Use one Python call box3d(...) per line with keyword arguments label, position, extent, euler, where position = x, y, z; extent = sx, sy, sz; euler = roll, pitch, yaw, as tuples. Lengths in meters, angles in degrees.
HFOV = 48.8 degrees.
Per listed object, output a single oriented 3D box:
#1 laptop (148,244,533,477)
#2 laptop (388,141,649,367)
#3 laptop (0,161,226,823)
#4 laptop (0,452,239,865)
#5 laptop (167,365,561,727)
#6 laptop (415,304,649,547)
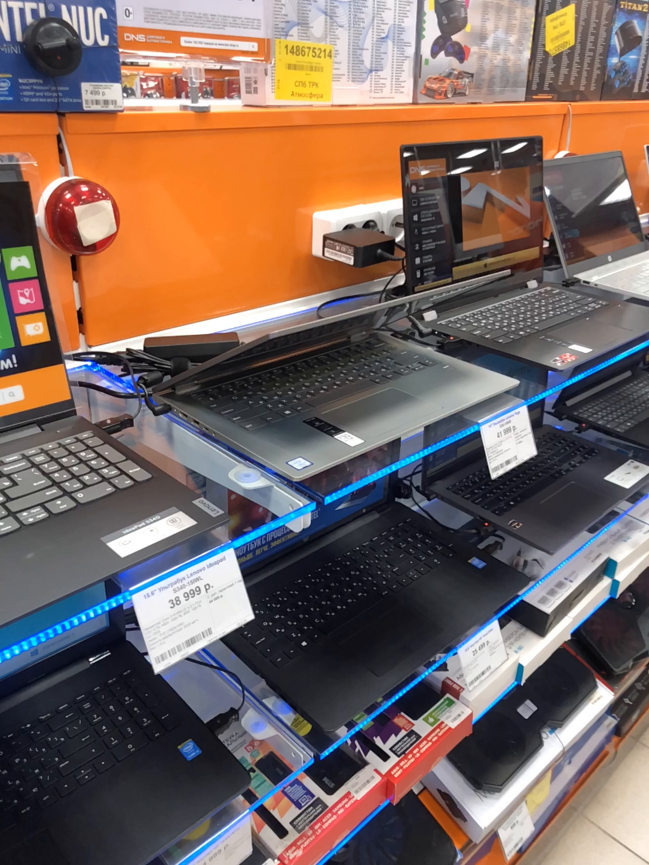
box3d(label="laptop", position=(0.022, -0.095, 0.714), extent=(0.314, 0.110, 0.210), euler=(-21, 35, -39))
box3d(label="laptop", position=(0.300, -0.255, 0.940), extent=(0.247, 0.210, 0.328), euler=(25, 34, 37))
box3d(label="laptop", position=(-0.276, -0.032, 0.441), extent=(0.277, 0.219, 0.330), euler=(25, 34, 39))
box3d(label="laptop", position=(-0.270, 0.219, 0.580), extent=(0.333, 0.222, 0.244), euler=(-20, 37, -39))
box3d(label="laptop", position=(0.049, 0.101, 0.859), extent=(0.362, 0.223, 0.260), euler=(-21, 35, -38))
box3d(label="laptop", position=(0.357, -0.031, 1.116), extent=(0.329, 0.228, 0.235), euler=(-23, 37, -40))
